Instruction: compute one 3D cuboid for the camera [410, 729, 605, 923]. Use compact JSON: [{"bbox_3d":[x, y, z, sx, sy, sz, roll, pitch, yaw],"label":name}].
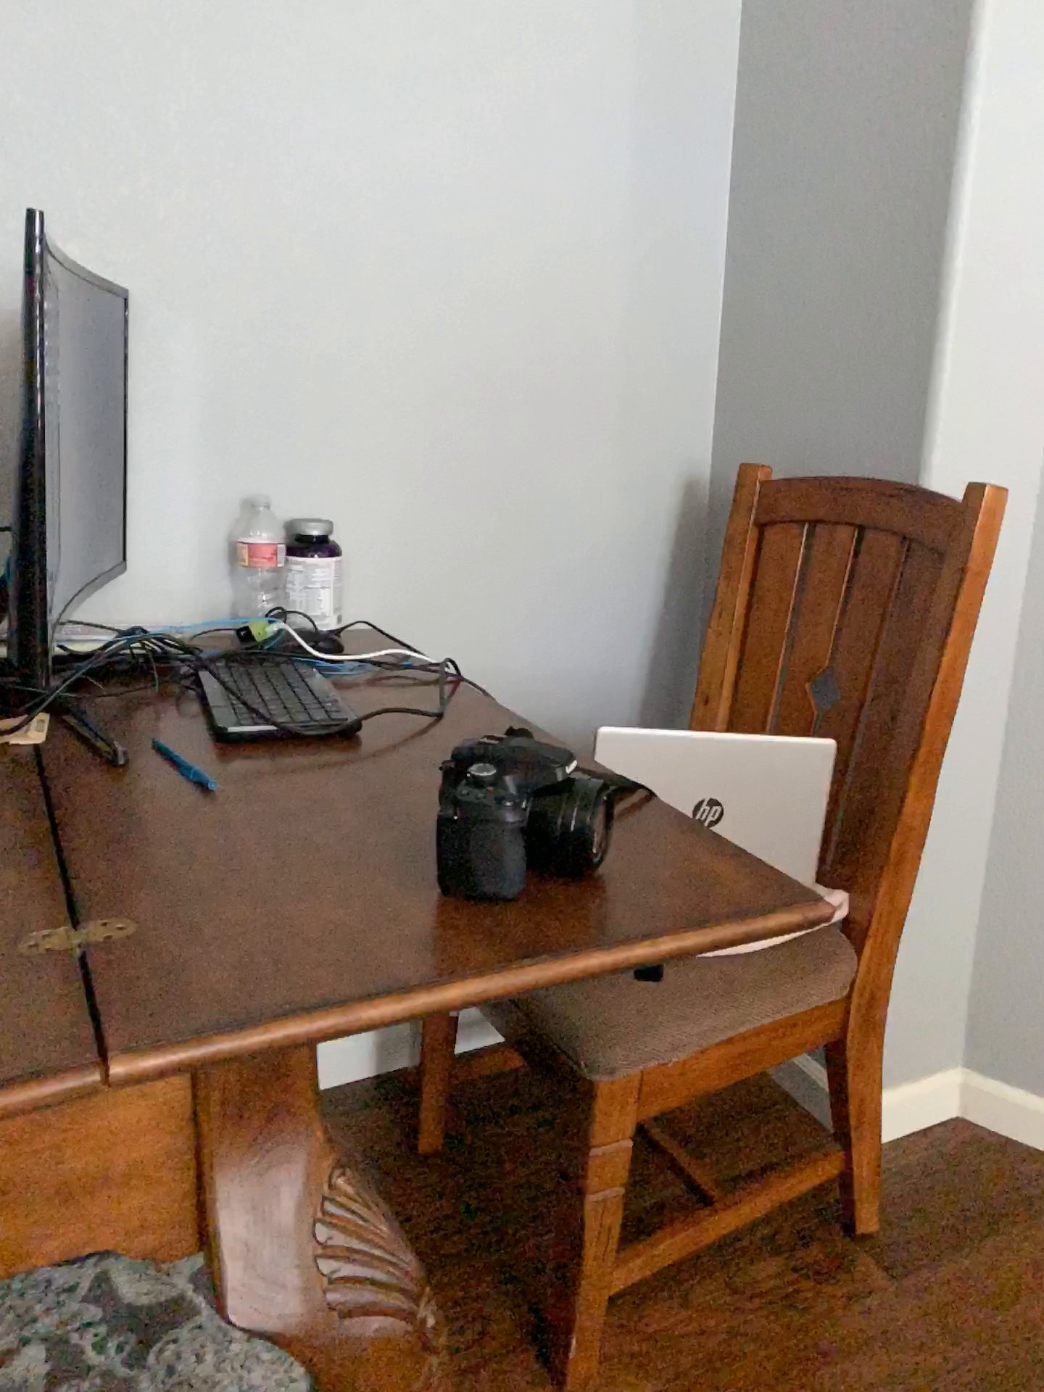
[{"bbox_3d":[-0.008,0.093,0.810,0.110,0.090,0.131,6,16,17],"label":"camera"}]
